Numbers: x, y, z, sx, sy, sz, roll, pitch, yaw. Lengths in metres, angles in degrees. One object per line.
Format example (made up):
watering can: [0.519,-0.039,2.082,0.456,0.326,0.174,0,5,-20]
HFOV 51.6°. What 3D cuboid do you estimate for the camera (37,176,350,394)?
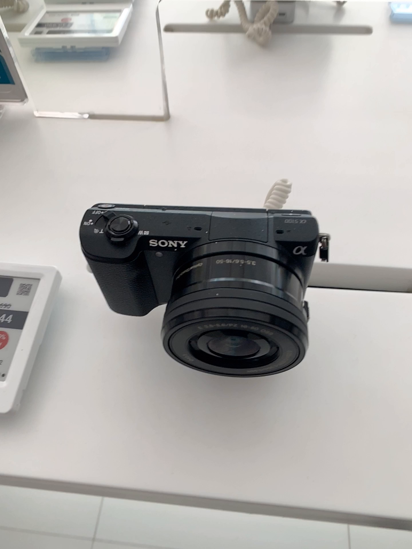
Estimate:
camera: [-0.002,0.007,0.198,0.110,0.080,0.060,4,55,5]
